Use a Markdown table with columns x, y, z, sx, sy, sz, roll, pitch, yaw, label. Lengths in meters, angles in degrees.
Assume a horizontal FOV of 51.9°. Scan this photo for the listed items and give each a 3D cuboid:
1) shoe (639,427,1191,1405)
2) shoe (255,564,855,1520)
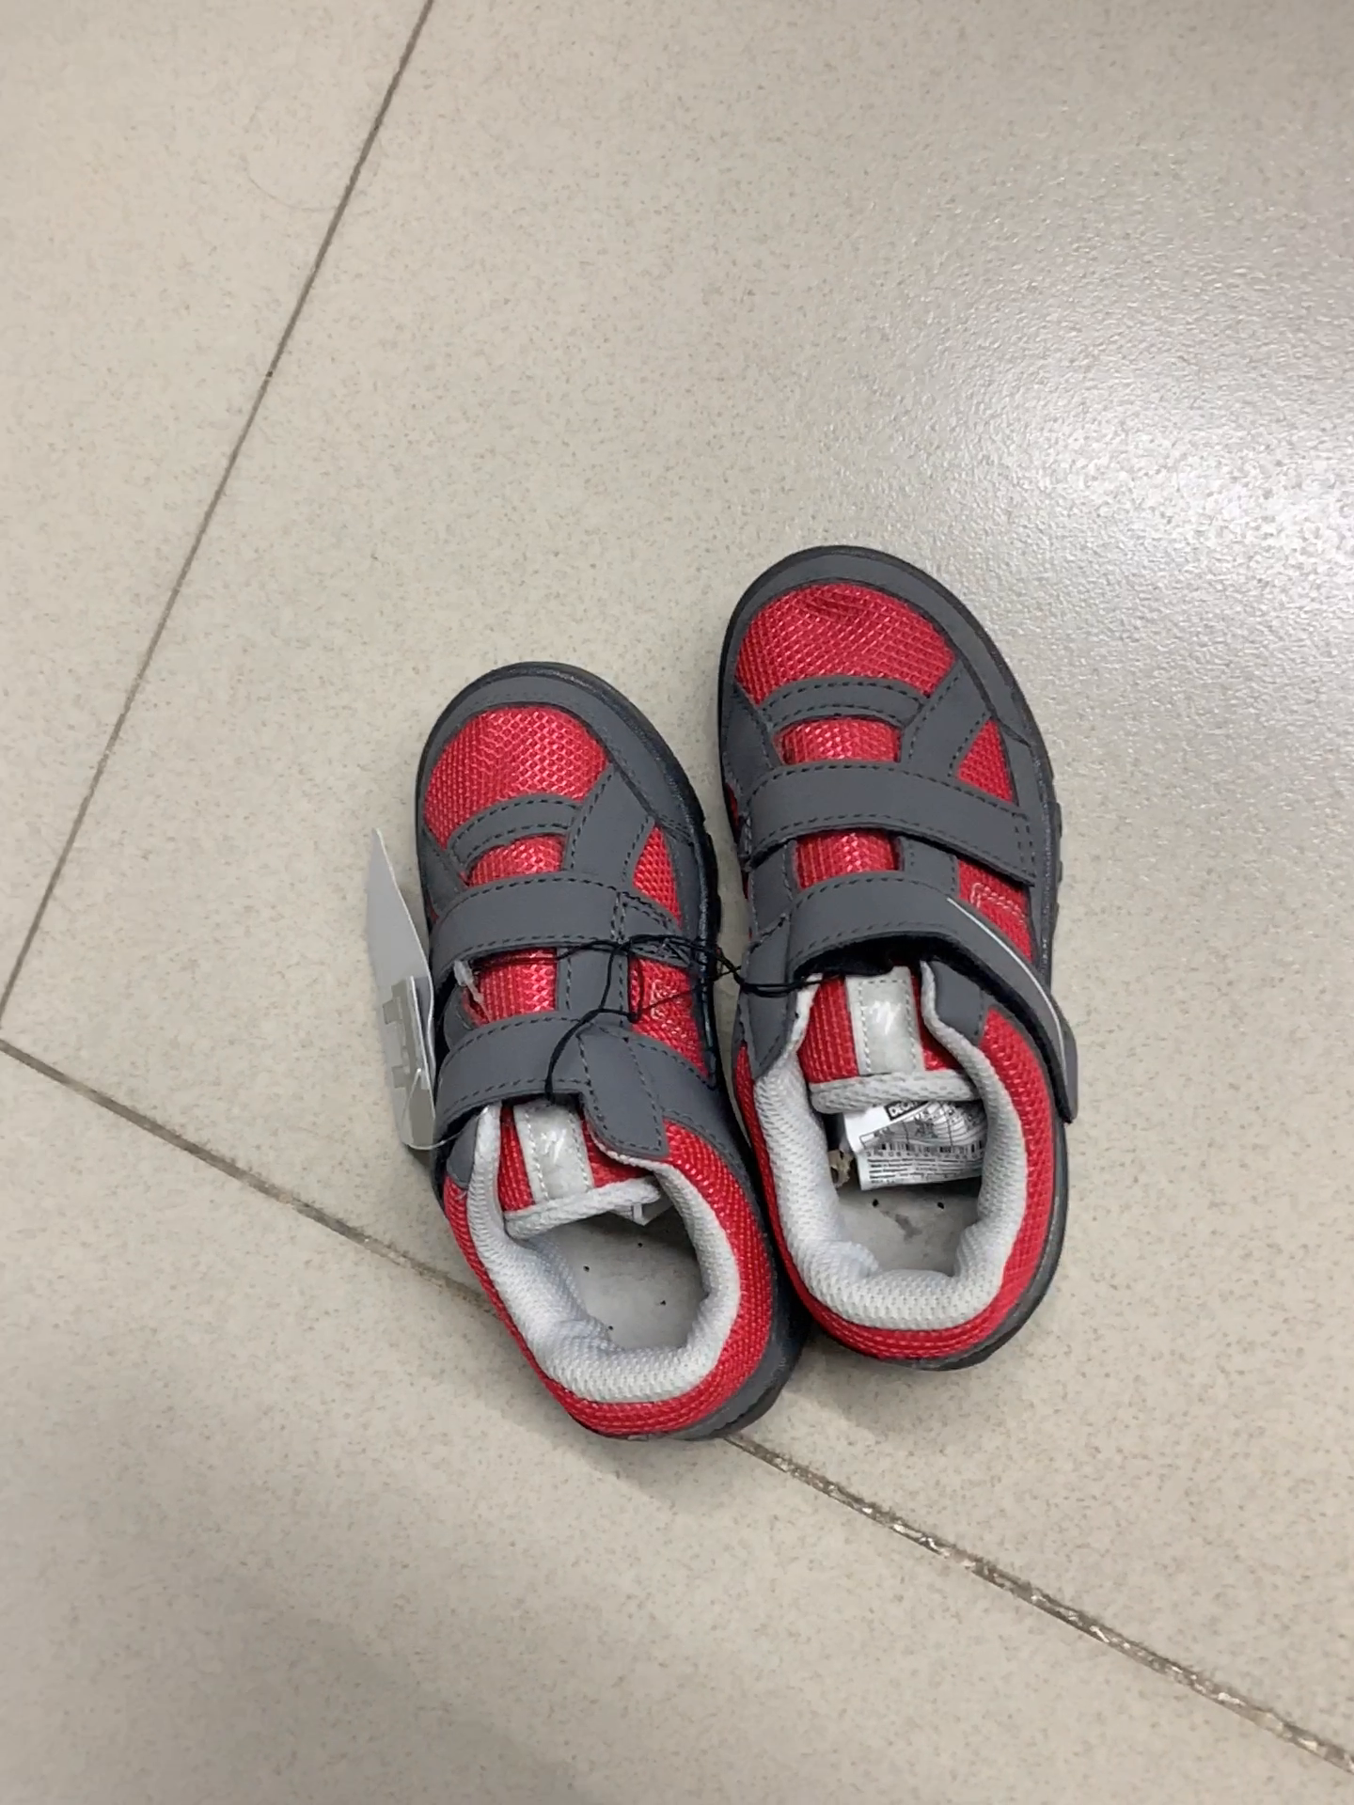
| x | y | z | sx | sy | sz | roll | pitch | yaw | label |
| --- | --- | --- | --- | --- | --- | --- | --- | --- | --- |
| 0.054 | 0.005 | 0.323 | 0.080 | 0.080 | 0.190 | -10 | 82 | 12 | shoe |
| -0.024 | 0.030 | 0.322 | 0.080 | 0.080 | 0.180 | -16 | 81 | 11 | shoe |
